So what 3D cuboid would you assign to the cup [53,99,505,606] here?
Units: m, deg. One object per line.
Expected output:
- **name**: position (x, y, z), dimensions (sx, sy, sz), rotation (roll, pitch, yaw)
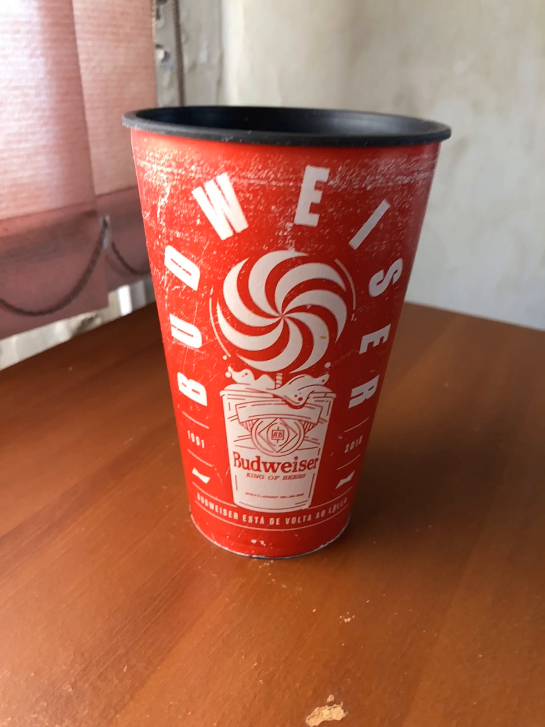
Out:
- **cup**: position (-0.001, -0.010, 0.206), dimensions (0.100, 0.139, 0.091), rotation (-3, 27, -6)
